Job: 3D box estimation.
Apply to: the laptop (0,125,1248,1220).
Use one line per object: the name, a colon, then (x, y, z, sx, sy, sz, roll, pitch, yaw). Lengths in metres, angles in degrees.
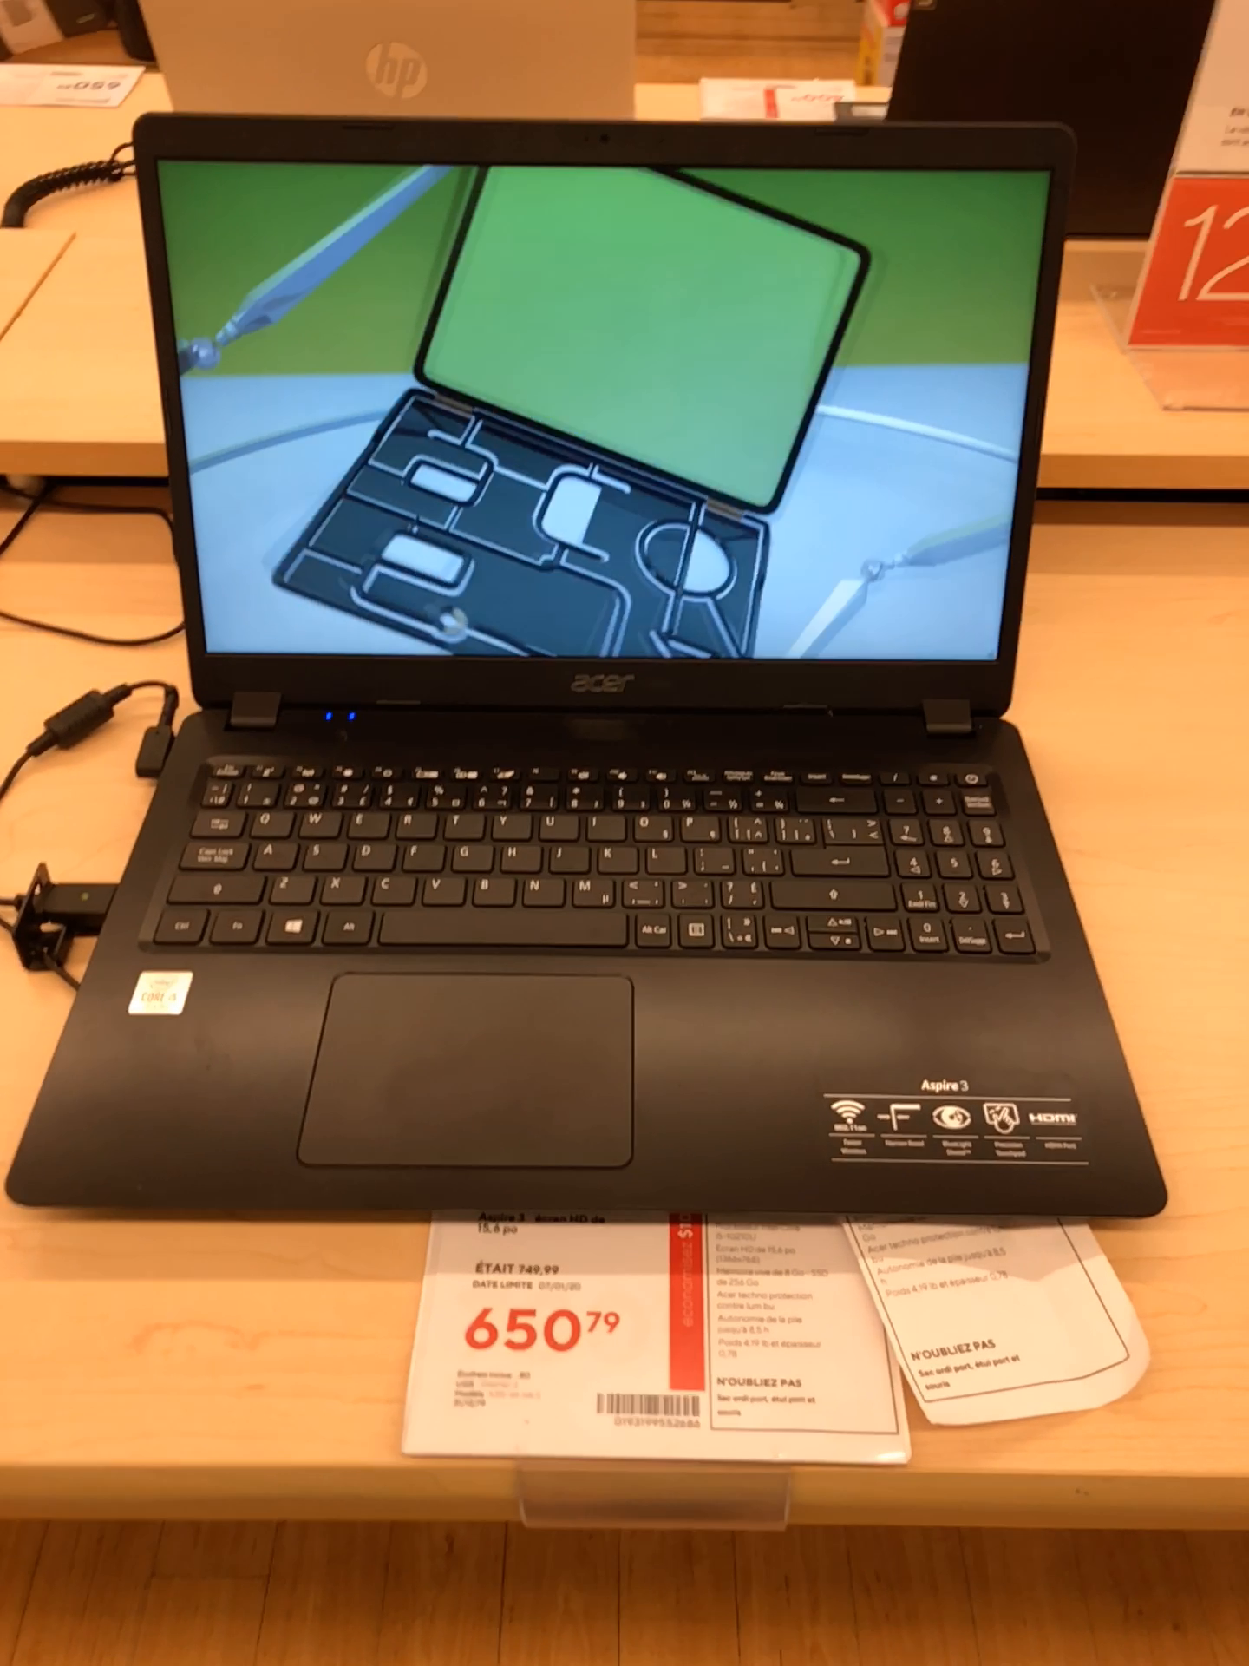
laptop: (-0.009, -0.074, 0.472, 0.354, 0.210, 0.329, 1, 44, 0)
